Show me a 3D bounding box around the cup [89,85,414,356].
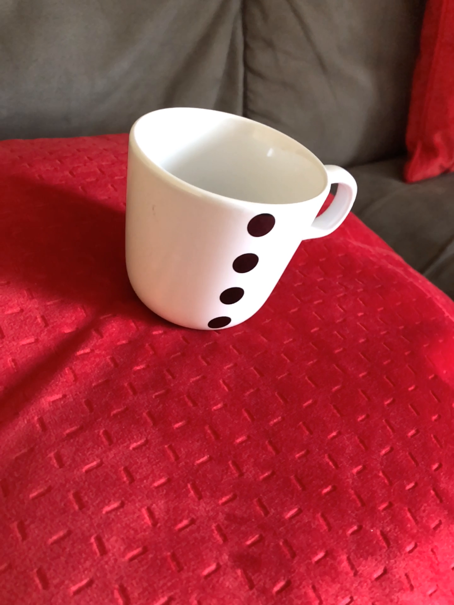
[{"bbox_3d":[0.003,-0.040,0.235,0.110,0.080,0.080,-7,44,-26],"label":"cup"}]
